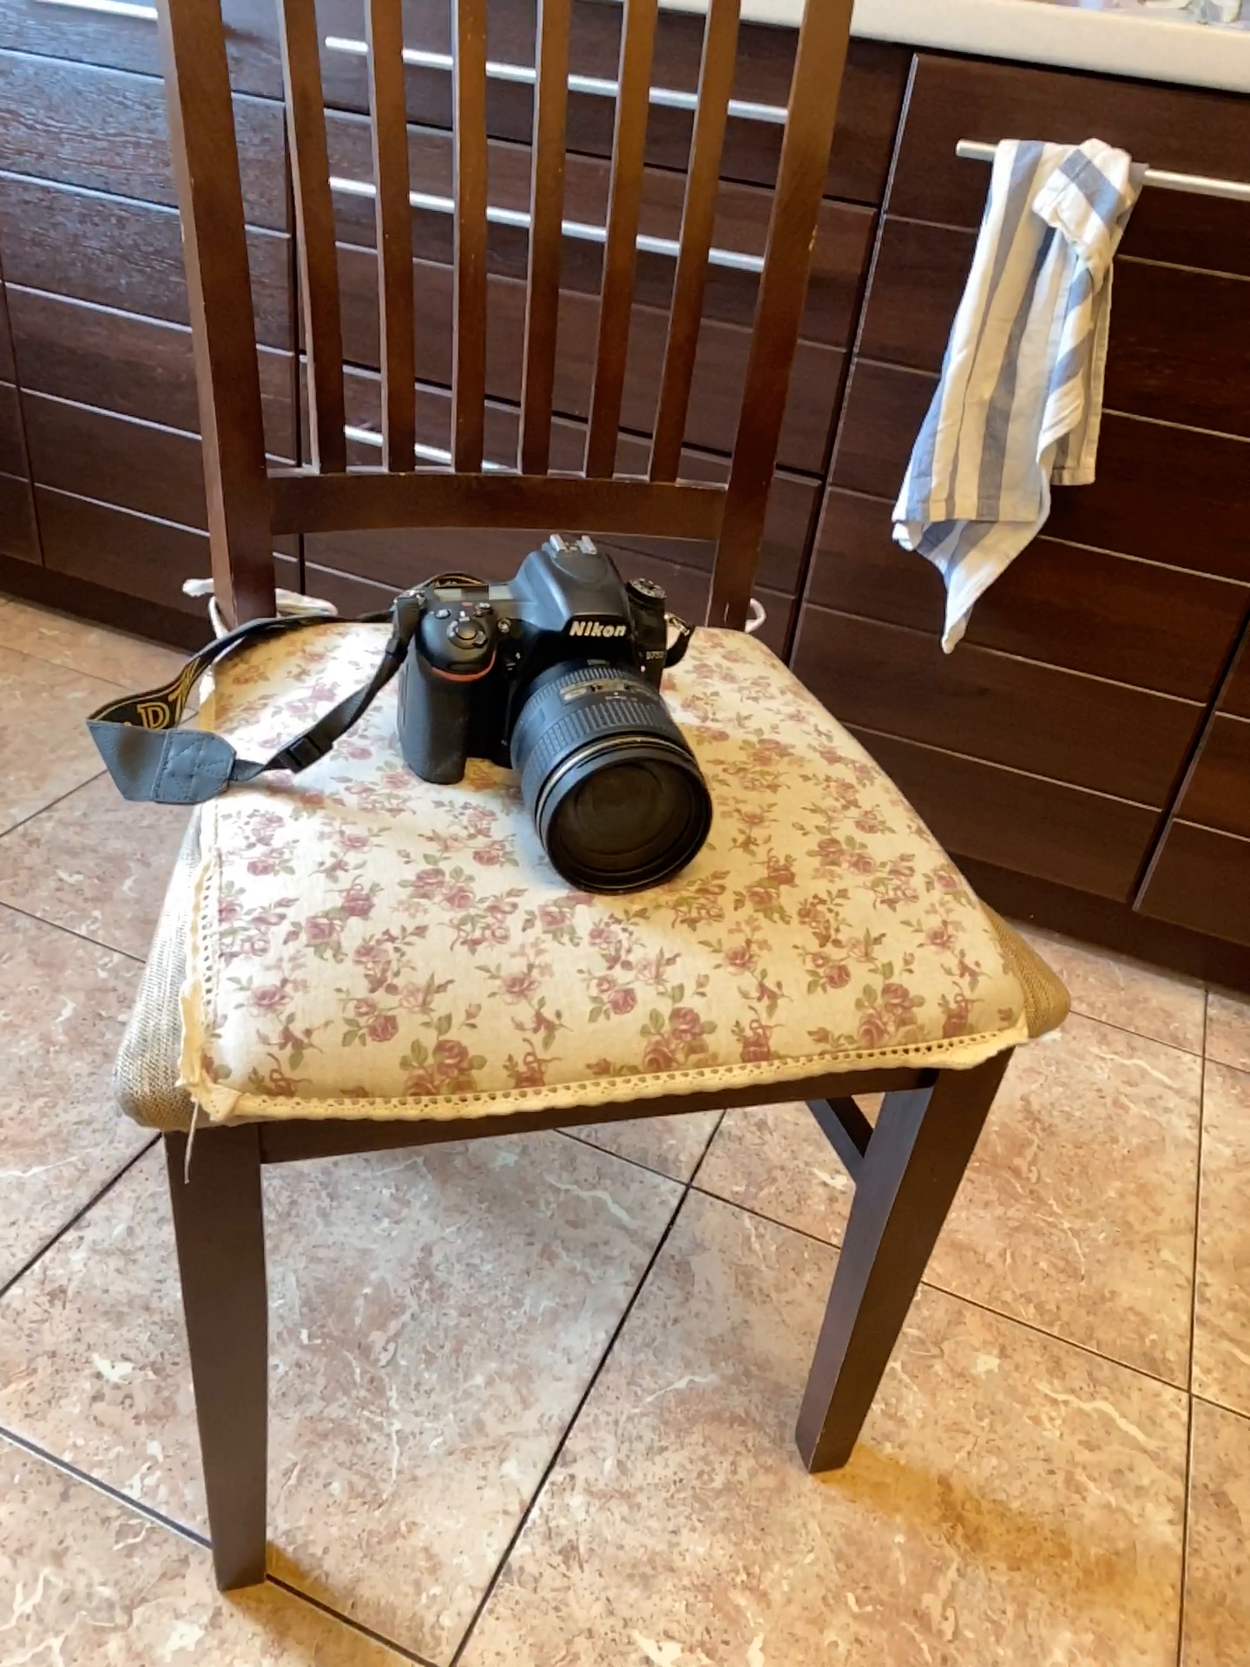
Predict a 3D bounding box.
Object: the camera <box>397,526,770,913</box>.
[{"bbox_3d":[-0.032,-0.064,0.624,0.135,0.119,0.165,-4,34,-17],"label":"camera"}]
